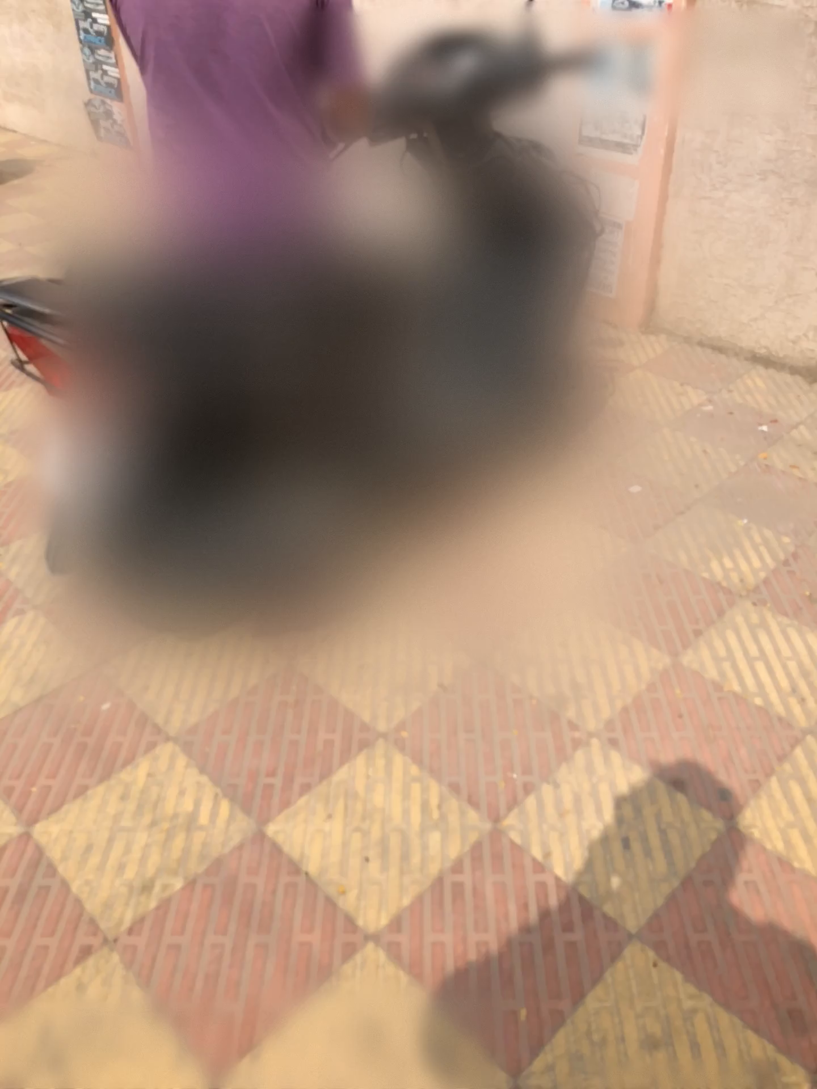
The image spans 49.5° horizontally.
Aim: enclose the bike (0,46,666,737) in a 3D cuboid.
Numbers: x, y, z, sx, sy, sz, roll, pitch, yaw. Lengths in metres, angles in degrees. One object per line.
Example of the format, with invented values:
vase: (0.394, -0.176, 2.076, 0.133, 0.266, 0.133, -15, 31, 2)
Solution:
bike: (-0.076, -0.488, 2.009, 0.574, 0.987, 1.514, 25, 42, 32)
